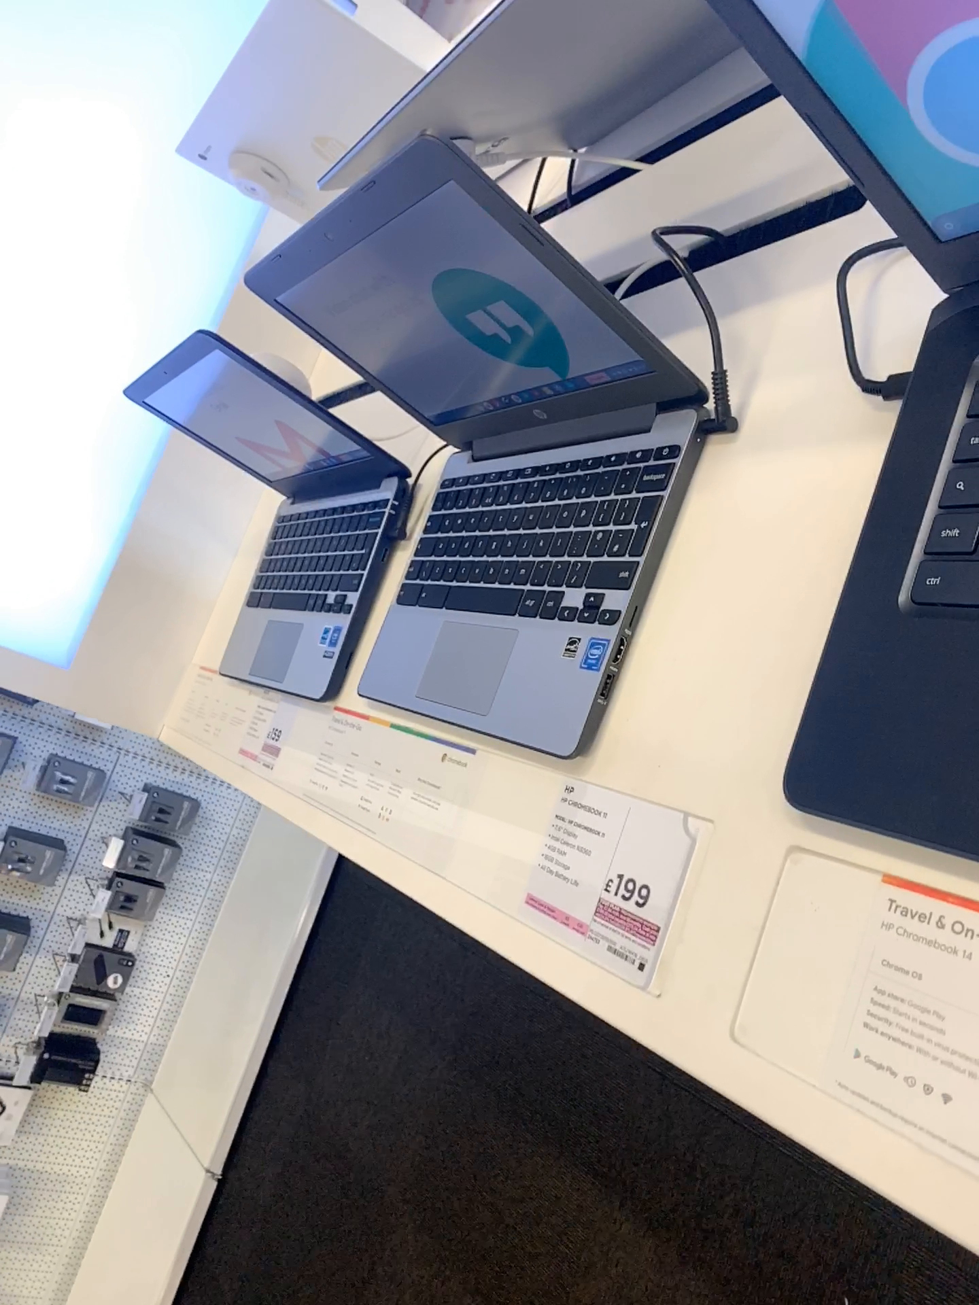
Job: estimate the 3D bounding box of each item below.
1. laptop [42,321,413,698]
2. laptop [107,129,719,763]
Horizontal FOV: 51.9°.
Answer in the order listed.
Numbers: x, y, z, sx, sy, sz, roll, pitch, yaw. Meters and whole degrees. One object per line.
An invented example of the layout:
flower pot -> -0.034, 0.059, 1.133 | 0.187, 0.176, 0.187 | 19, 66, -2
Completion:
laptop -> -0.241, -0.111, 0.879 | 0.288, 0.180, 0.221 | 6, 75, 59
laptop -> -0.063, -0.097, 0.585 | 0.279, 0.185, 0.228 | 9, 76, 60
